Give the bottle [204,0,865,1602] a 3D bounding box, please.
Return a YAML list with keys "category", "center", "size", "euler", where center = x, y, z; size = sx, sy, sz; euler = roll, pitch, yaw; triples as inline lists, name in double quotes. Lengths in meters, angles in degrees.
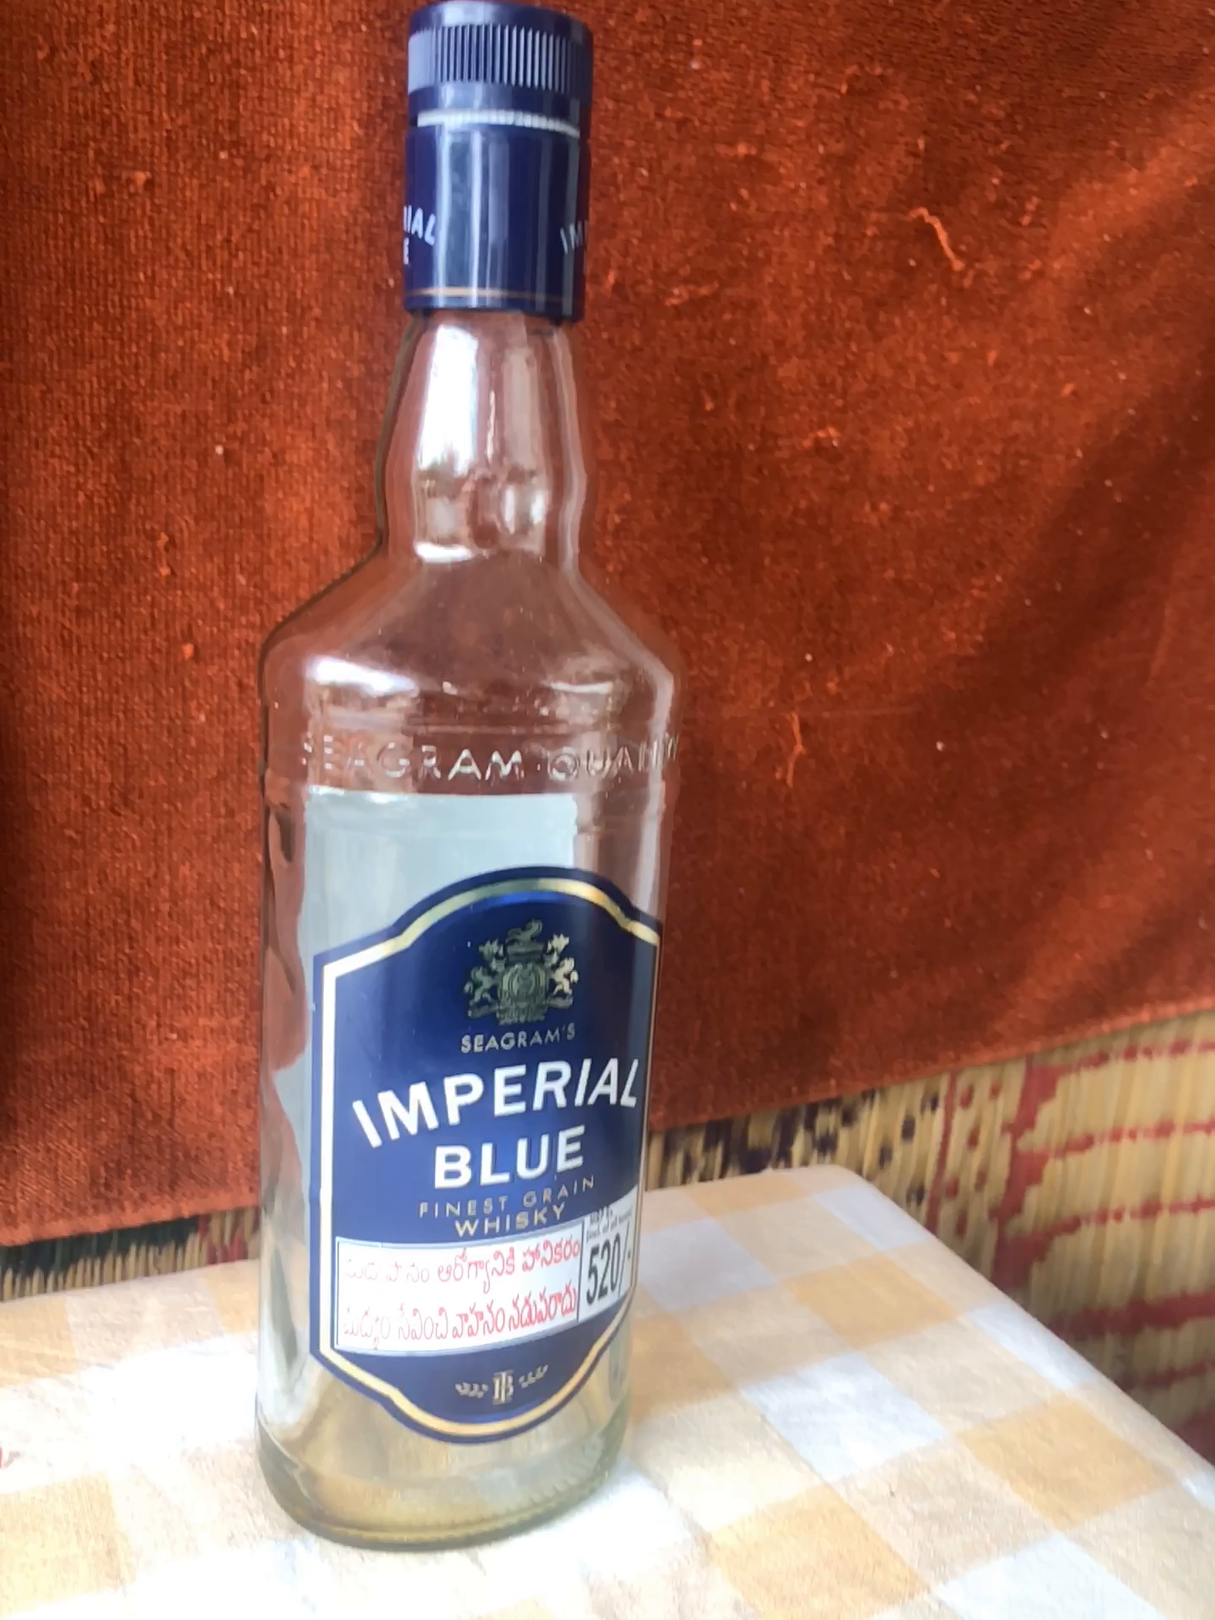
- category: "bottle"
  center: [-0.027, -0.008, 0.270]
  size: [0.090, 0.309, 0.070]
  euler: [0, 15, -21]
